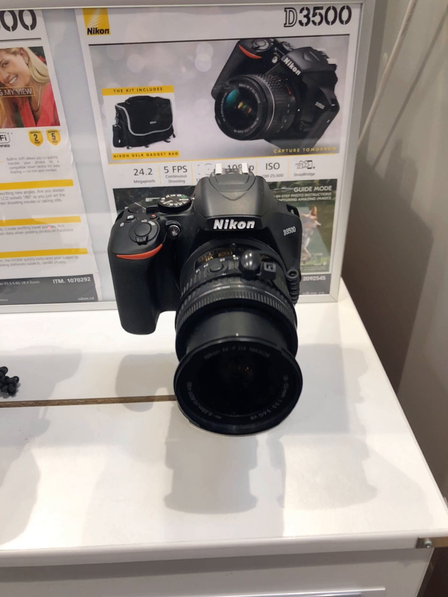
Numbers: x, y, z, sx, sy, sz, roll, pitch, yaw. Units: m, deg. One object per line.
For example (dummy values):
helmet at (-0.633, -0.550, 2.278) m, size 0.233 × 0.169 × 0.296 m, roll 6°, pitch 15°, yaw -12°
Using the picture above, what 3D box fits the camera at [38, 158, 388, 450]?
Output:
camera at (-0.006, -0.008, 0.267) m, size 0.130 × 0.089 × 0.141 m, roll -2°, pitch 33°, yaw -1°
